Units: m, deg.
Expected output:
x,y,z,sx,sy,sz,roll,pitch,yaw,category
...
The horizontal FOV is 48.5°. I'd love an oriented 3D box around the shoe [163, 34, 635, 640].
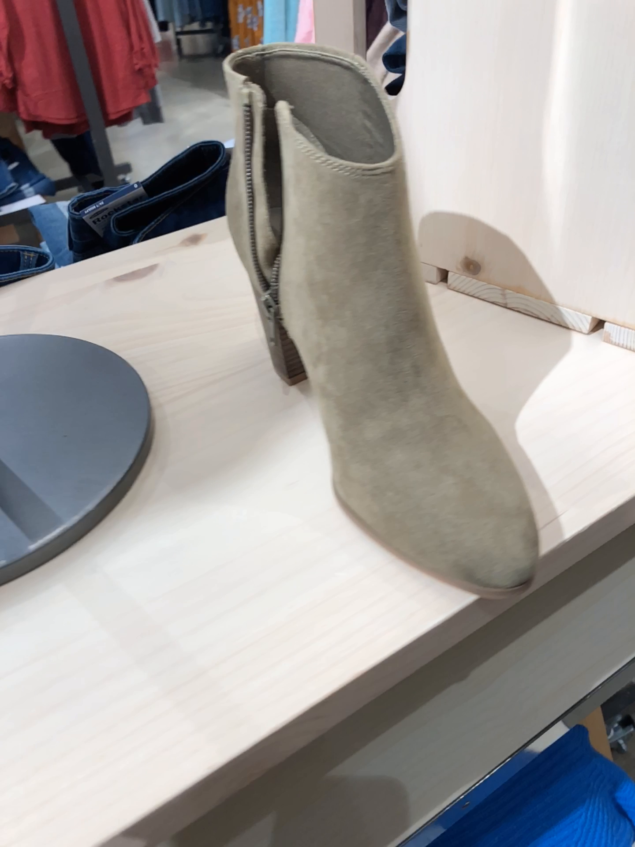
x,y,z,sx,sy,sz,roll,pitch,yaw,category
0.024,-0.058,0.321,0.090,0.169,0.231,-20,42,-18,shoe
